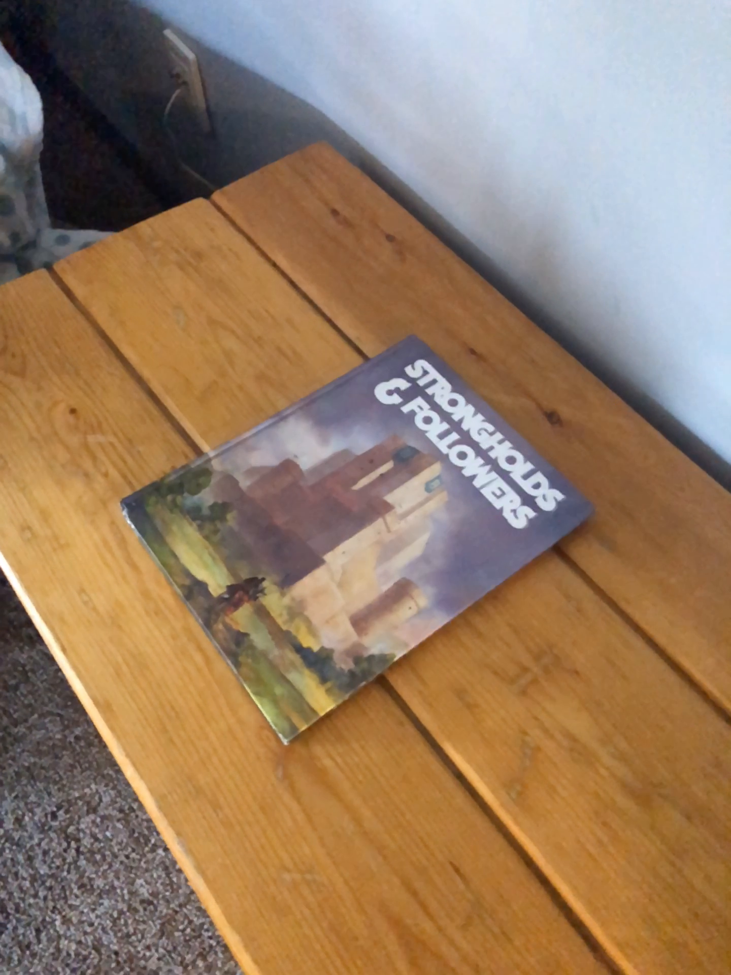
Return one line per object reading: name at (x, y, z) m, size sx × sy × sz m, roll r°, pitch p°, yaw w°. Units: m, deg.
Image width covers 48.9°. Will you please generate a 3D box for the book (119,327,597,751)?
book at (-0.005, 0.021, 0.611) m, size 0.281 × 0.042 × 0.213 m, roll -33°, pitch 65°, yaw -19°
